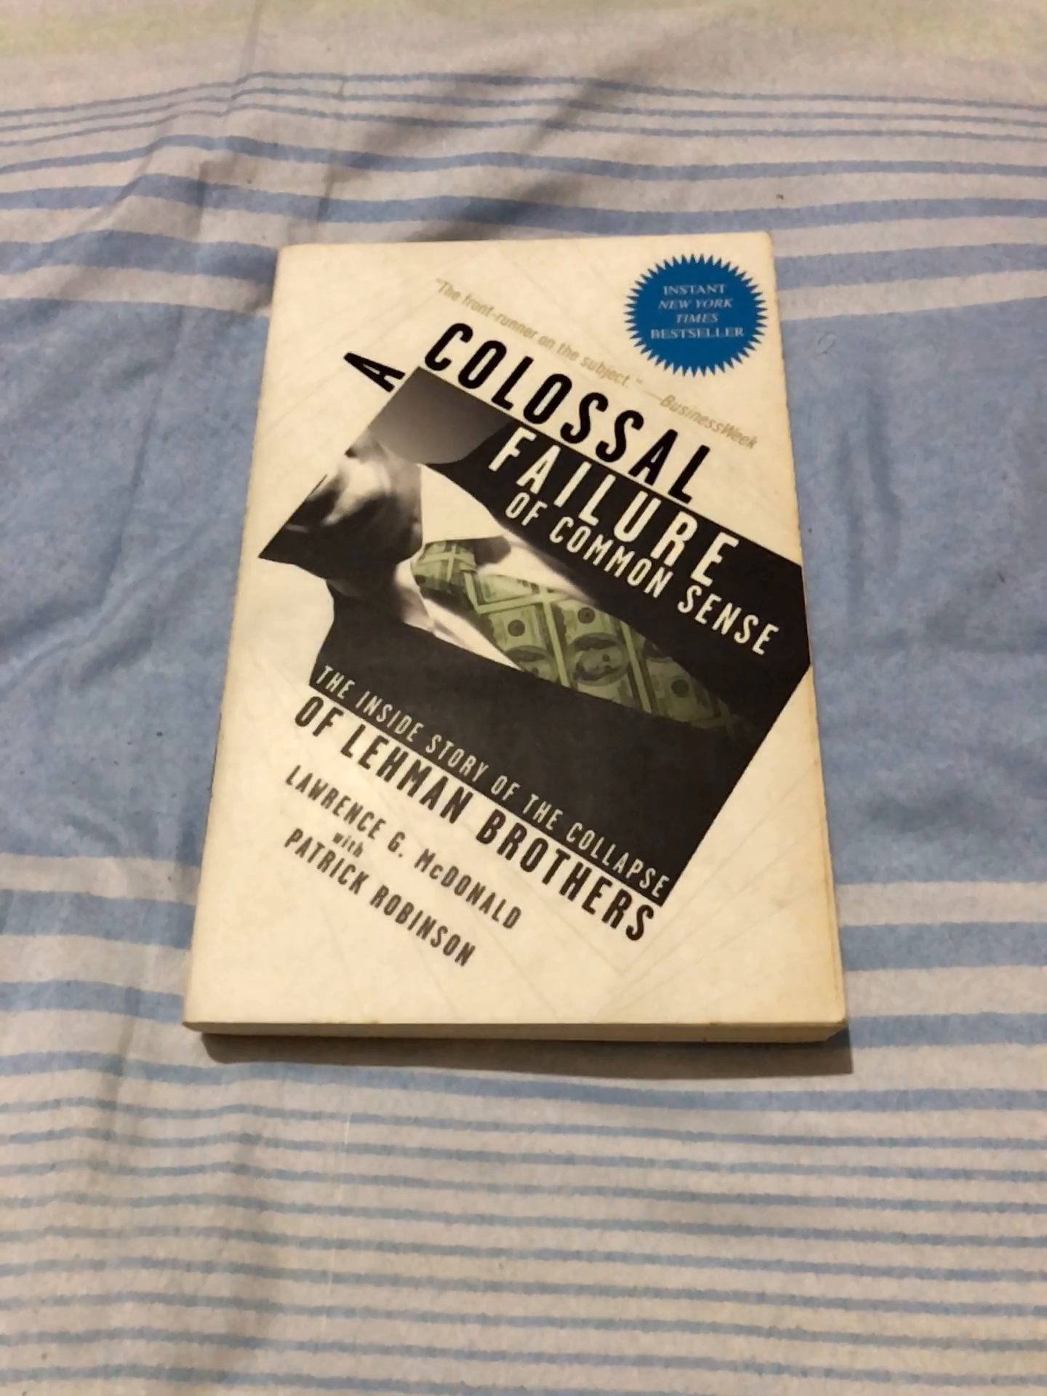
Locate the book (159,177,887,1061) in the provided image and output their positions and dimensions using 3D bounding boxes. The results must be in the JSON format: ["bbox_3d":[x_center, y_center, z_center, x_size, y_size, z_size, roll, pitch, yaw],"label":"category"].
[{"bbox_3d":[0.000,-0.028,0.285,0.140,0.040,0.220,0,67,1],"label":"book"}]
